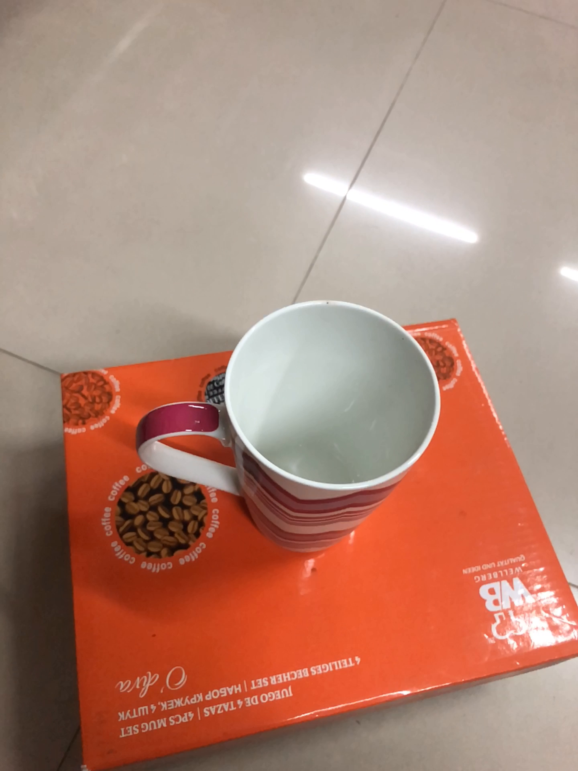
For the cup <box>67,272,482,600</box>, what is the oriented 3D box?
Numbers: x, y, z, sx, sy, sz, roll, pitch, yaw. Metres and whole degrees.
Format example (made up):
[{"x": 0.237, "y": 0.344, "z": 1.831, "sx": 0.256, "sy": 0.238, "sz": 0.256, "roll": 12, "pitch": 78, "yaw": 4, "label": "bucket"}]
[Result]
[{"x": -0.011, "y": 0.026, "z": 0.271, "sx": 0.130, "sy": 0.110, "sz": 0.090, "roll": -4, "pitch": 62, "yaw": -7, "label": "cup"}]
